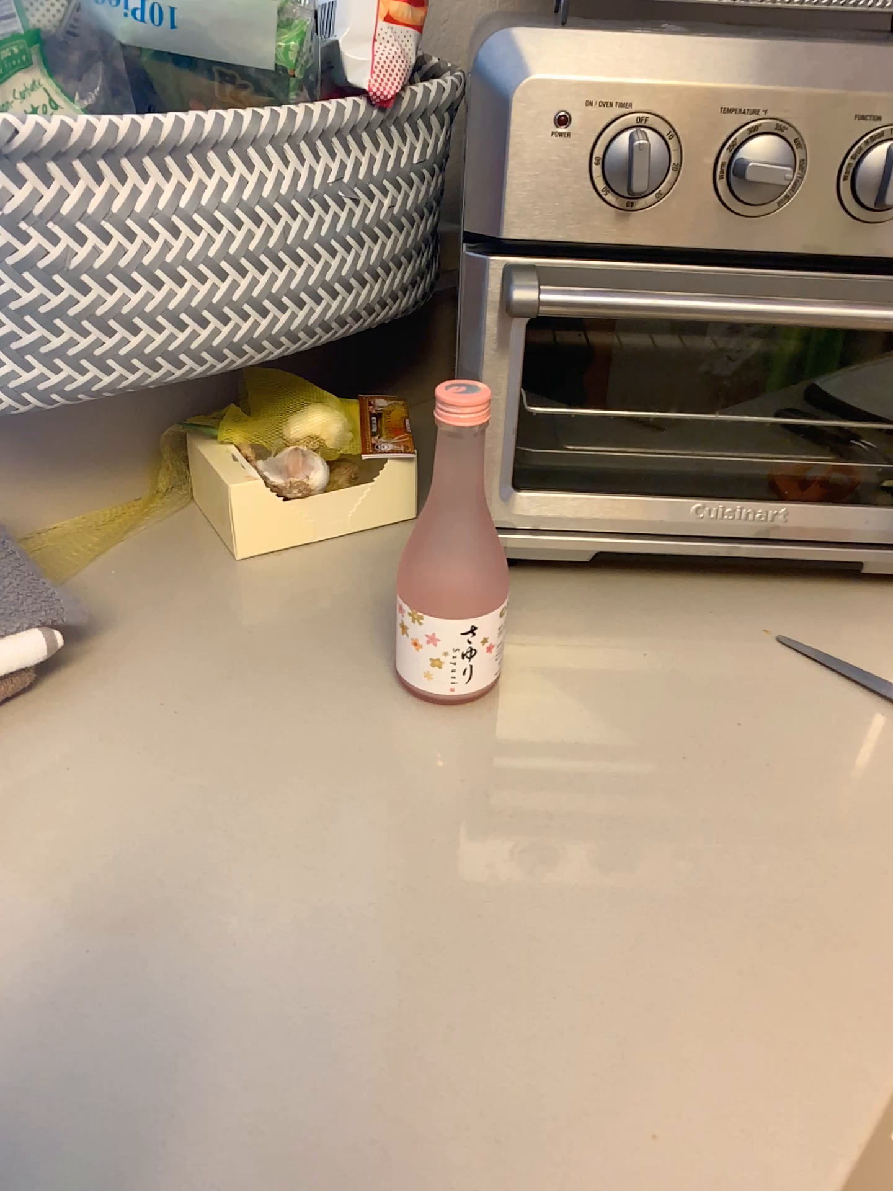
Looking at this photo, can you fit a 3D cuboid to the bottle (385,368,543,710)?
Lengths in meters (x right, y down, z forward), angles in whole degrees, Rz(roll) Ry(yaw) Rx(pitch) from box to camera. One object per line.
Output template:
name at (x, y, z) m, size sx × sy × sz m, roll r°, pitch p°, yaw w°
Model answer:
bottle at (0.008, -0.029, 0.506) m, size 0.070 × 0.169 × 0.070 m, roll 2°, pitch 33°, yaw -1°
